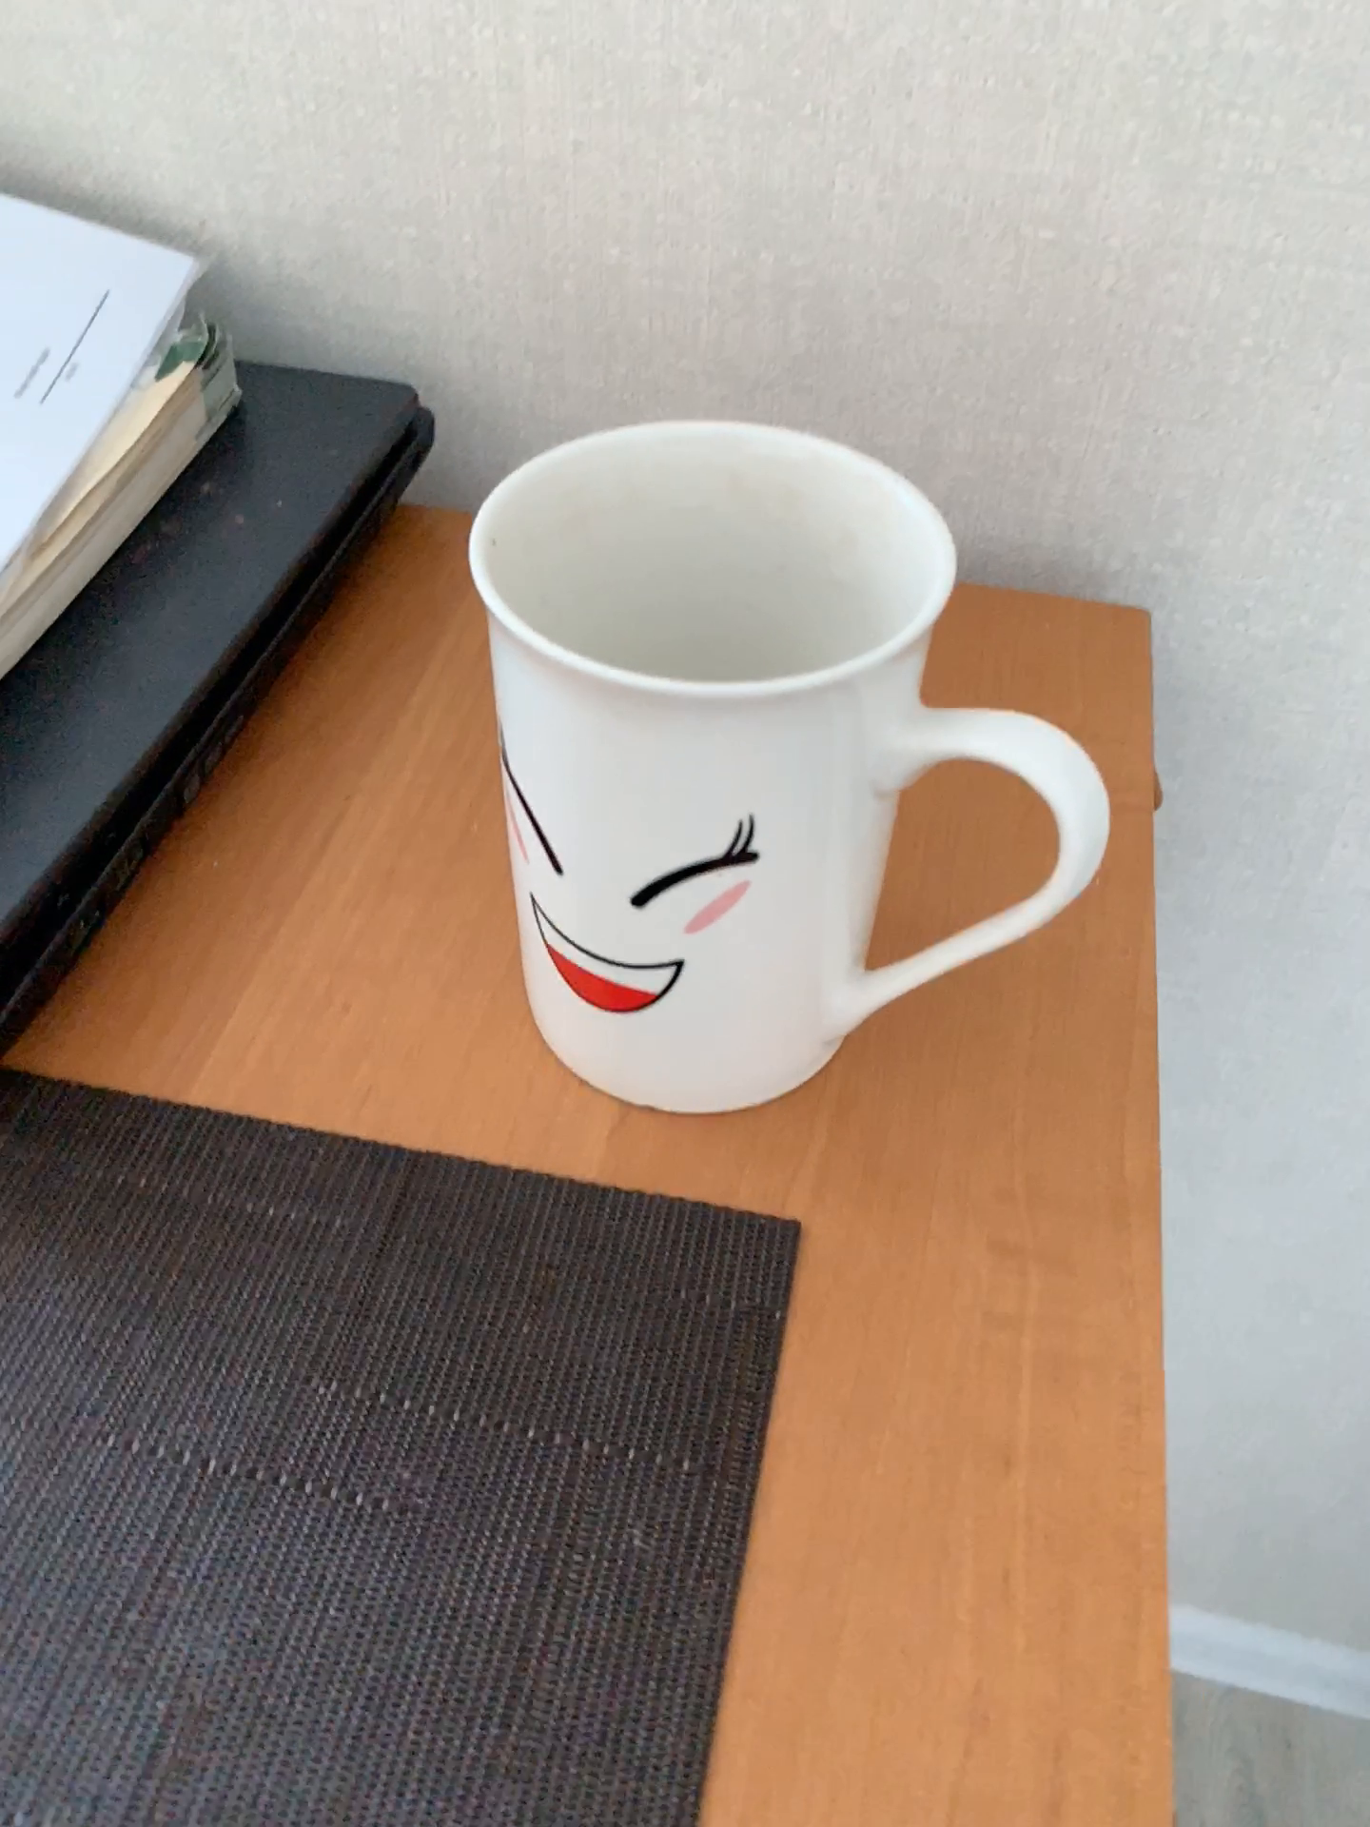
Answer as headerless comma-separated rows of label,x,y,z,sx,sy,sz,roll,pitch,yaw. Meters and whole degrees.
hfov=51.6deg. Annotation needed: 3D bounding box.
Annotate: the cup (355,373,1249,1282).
cup,0.017,-0.018,0.242,0.107,0.095,0.080,25,48,20
